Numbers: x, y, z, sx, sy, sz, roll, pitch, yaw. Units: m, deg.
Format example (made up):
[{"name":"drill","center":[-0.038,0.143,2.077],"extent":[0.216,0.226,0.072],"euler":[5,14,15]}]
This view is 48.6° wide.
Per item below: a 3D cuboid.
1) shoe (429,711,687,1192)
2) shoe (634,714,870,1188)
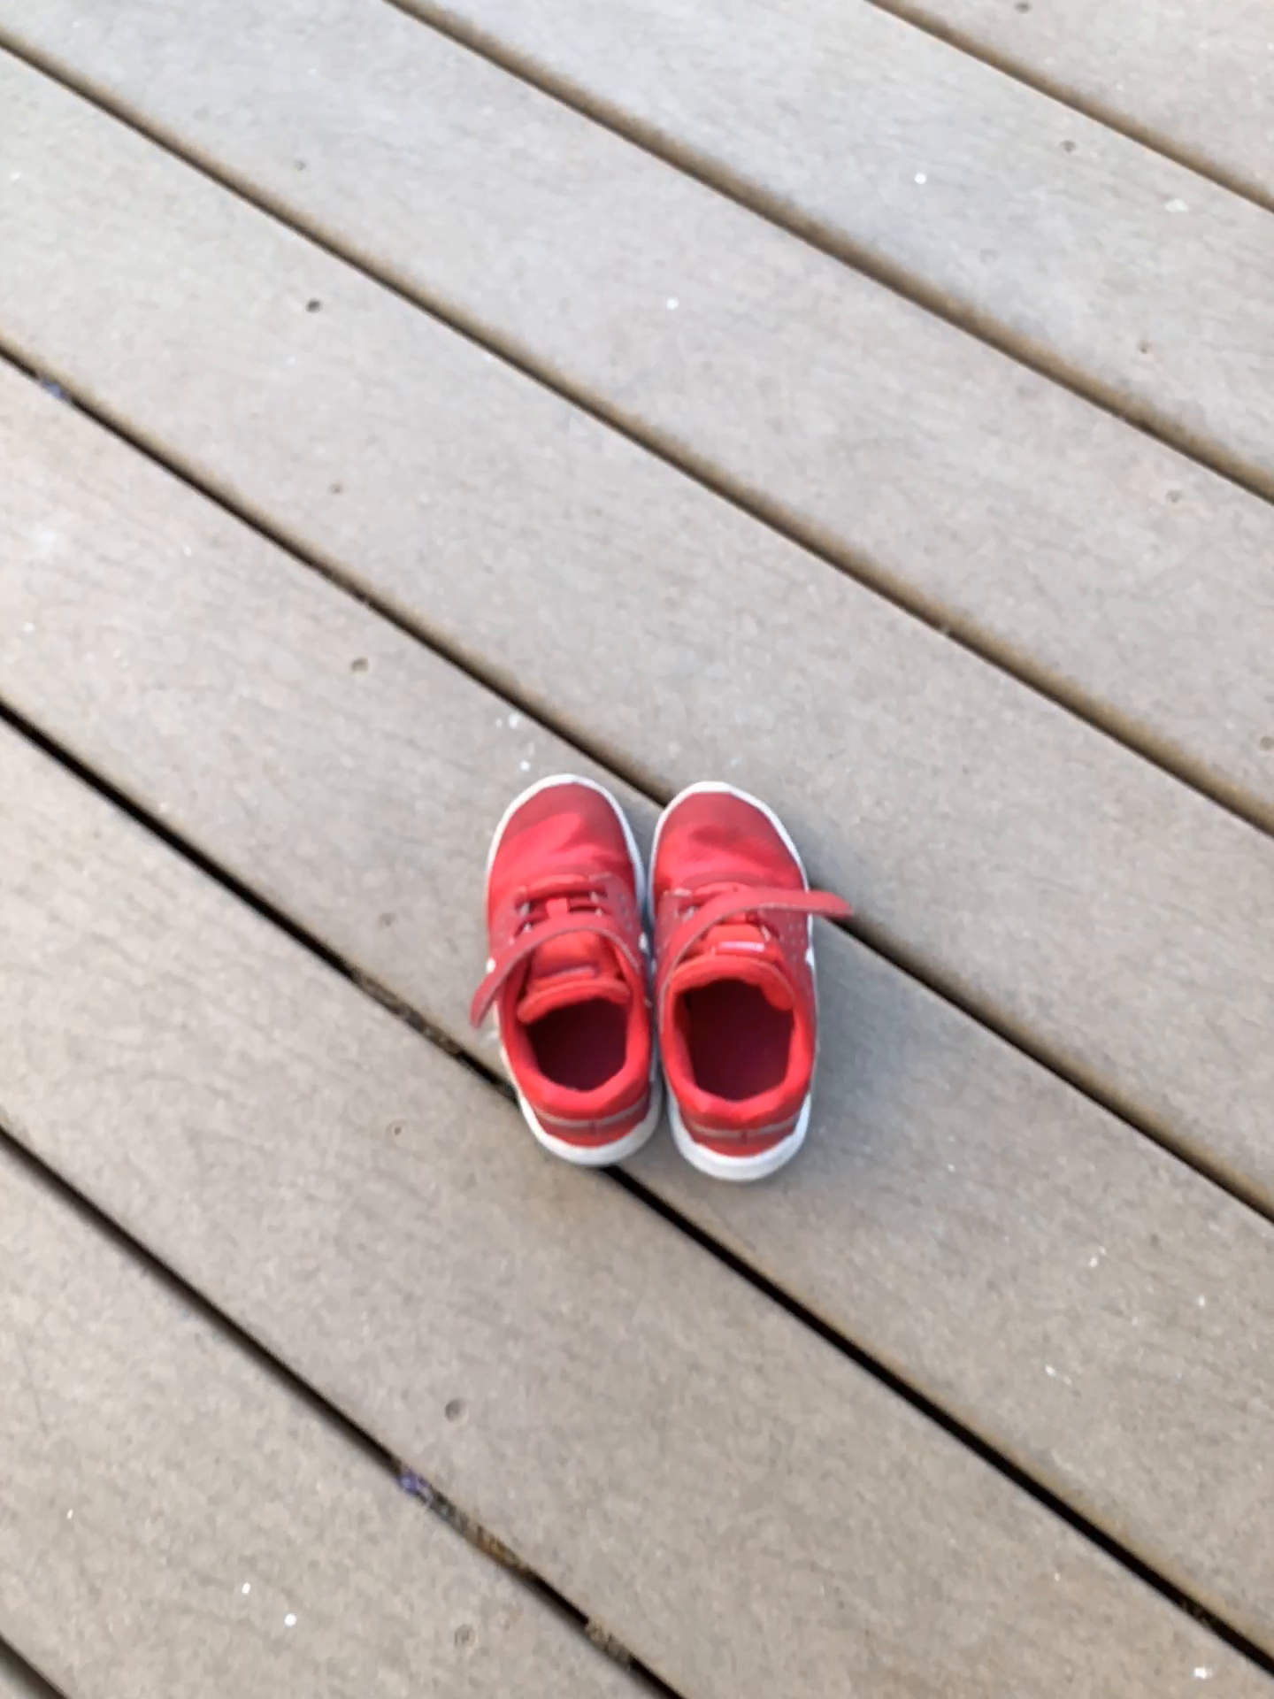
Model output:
[{"name":"shoe","center":[-0.030,0.043,0.561],"extent":[0.077,0.087,0.167],"euler":[-7,73,-1]},{"name":"shoe","center":[0.041,0.043,0.551],"extent":[0.077,0.087,0.167],"euler":[-2,73,1]}]
